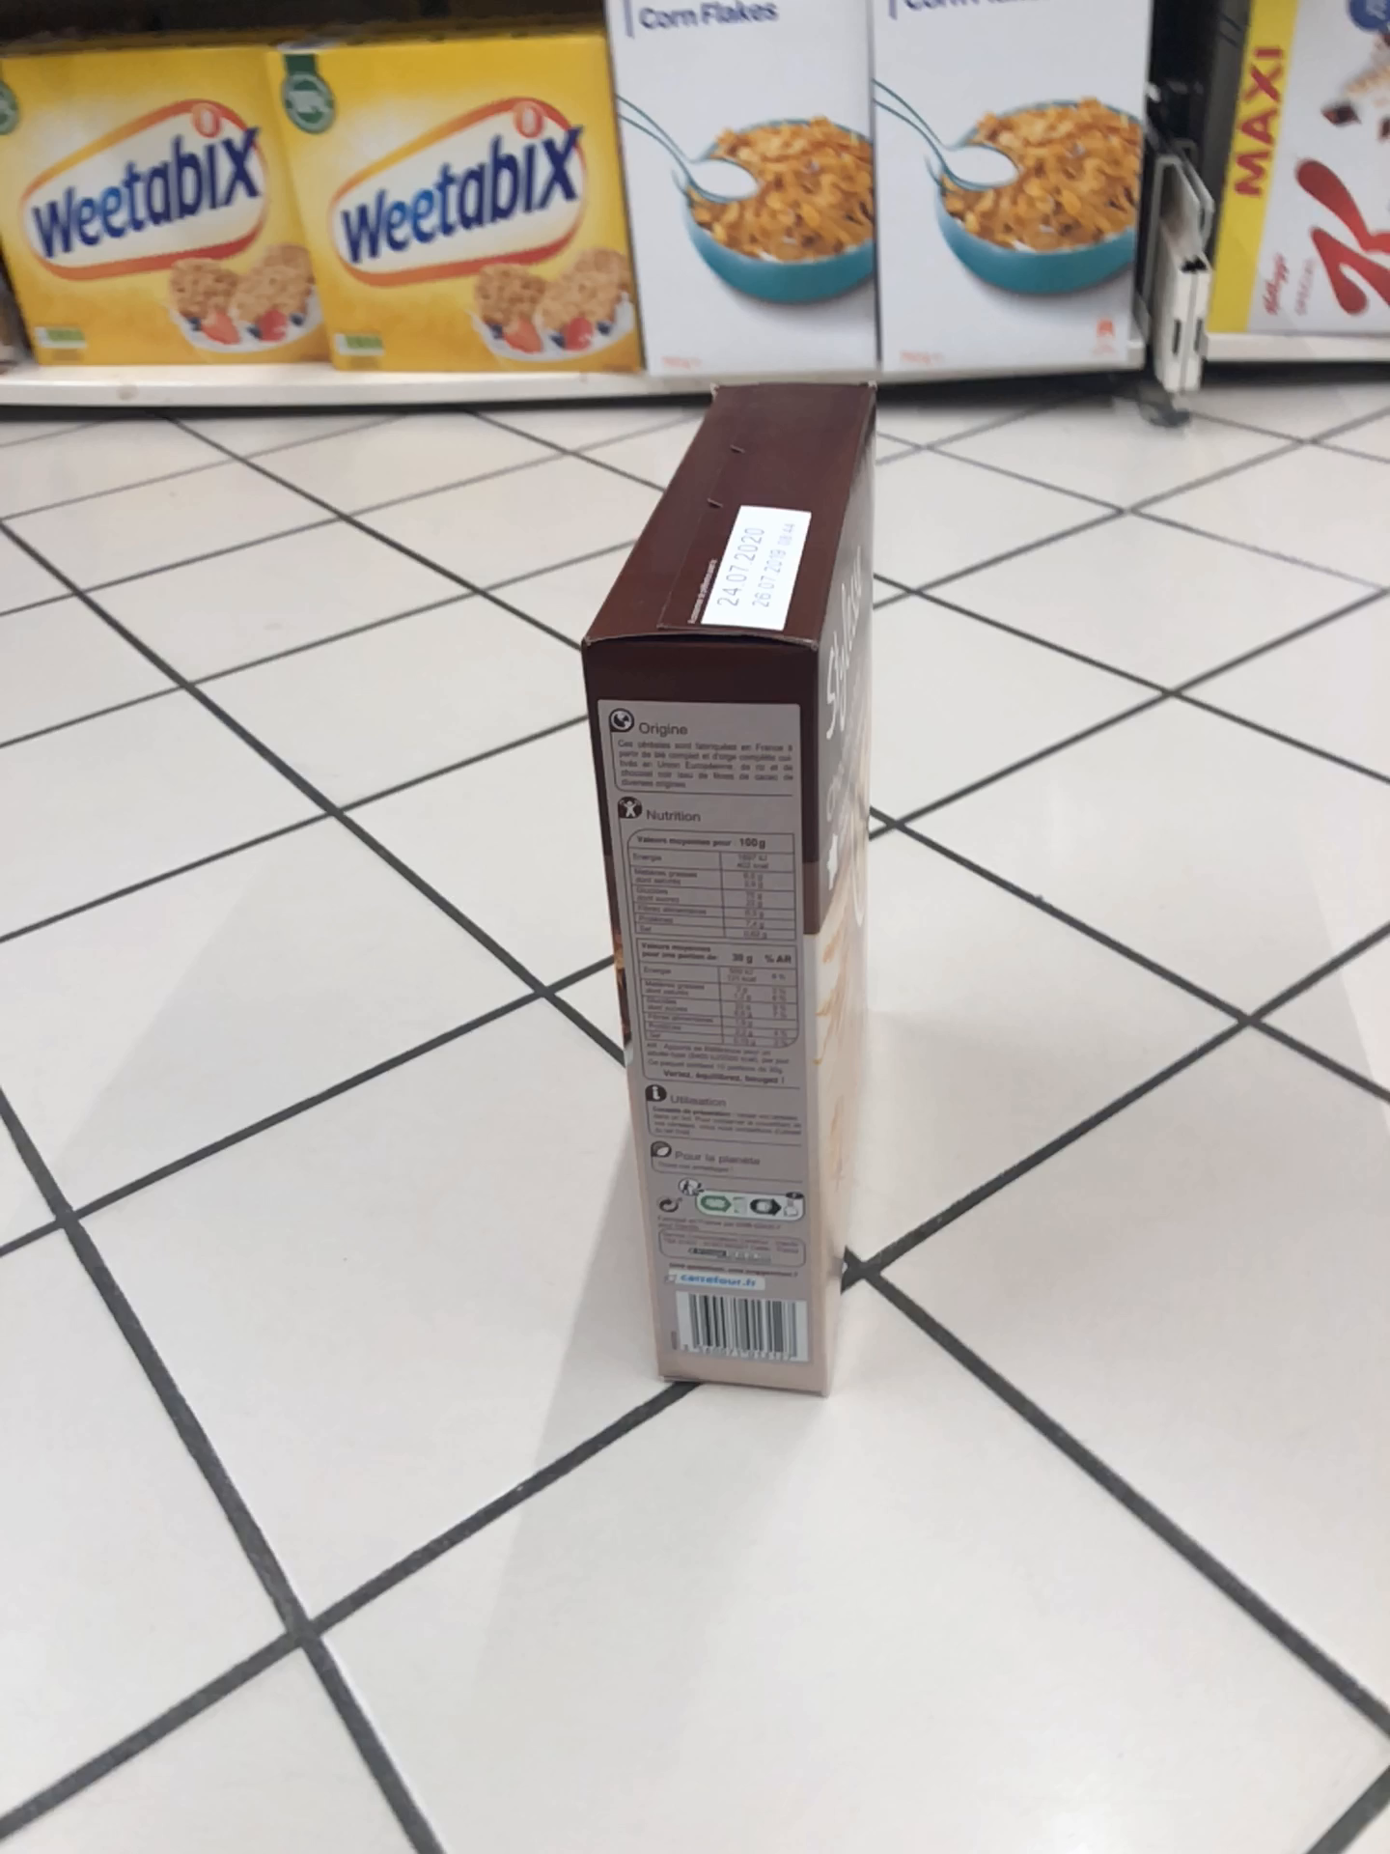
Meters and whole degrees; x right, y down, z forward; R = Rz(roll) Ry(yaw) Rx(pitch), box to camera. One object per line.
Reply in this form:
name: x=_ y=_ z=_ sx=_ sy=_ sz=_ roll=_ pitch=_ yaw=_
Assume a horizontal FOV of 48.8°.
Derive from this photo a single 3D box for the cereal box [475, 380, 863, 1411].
cereal box: x=0.009 y=-0.016 z=0.466 sx=0.070 sy=0.239 sz=0.201 roll=2 pitch=35 yaw=9
